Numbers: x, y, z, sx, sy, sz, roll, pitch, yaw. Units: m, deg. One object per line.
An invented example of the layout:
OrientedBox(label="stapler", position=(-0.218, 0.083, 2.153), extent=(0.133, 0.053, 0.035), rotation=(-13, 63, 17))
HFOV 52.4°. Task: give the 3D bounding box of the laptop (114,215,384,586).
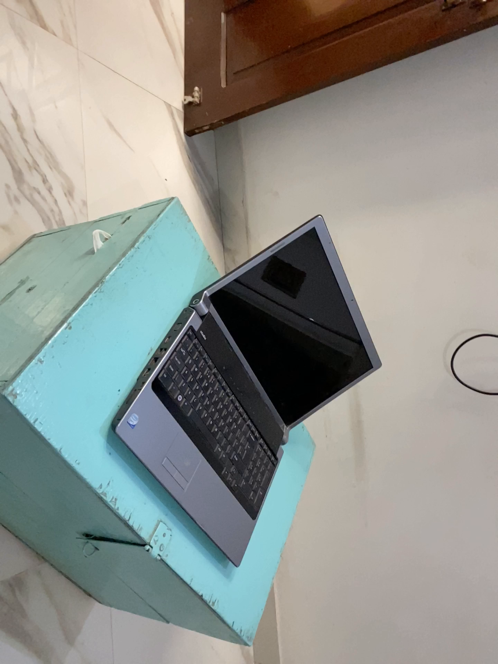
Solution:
OrientedBox(label="laptop", position=(0.057, 0.107, 0.900), extent=(0.390, 0.178, 0.479), rotation=(60, 40, -33))
